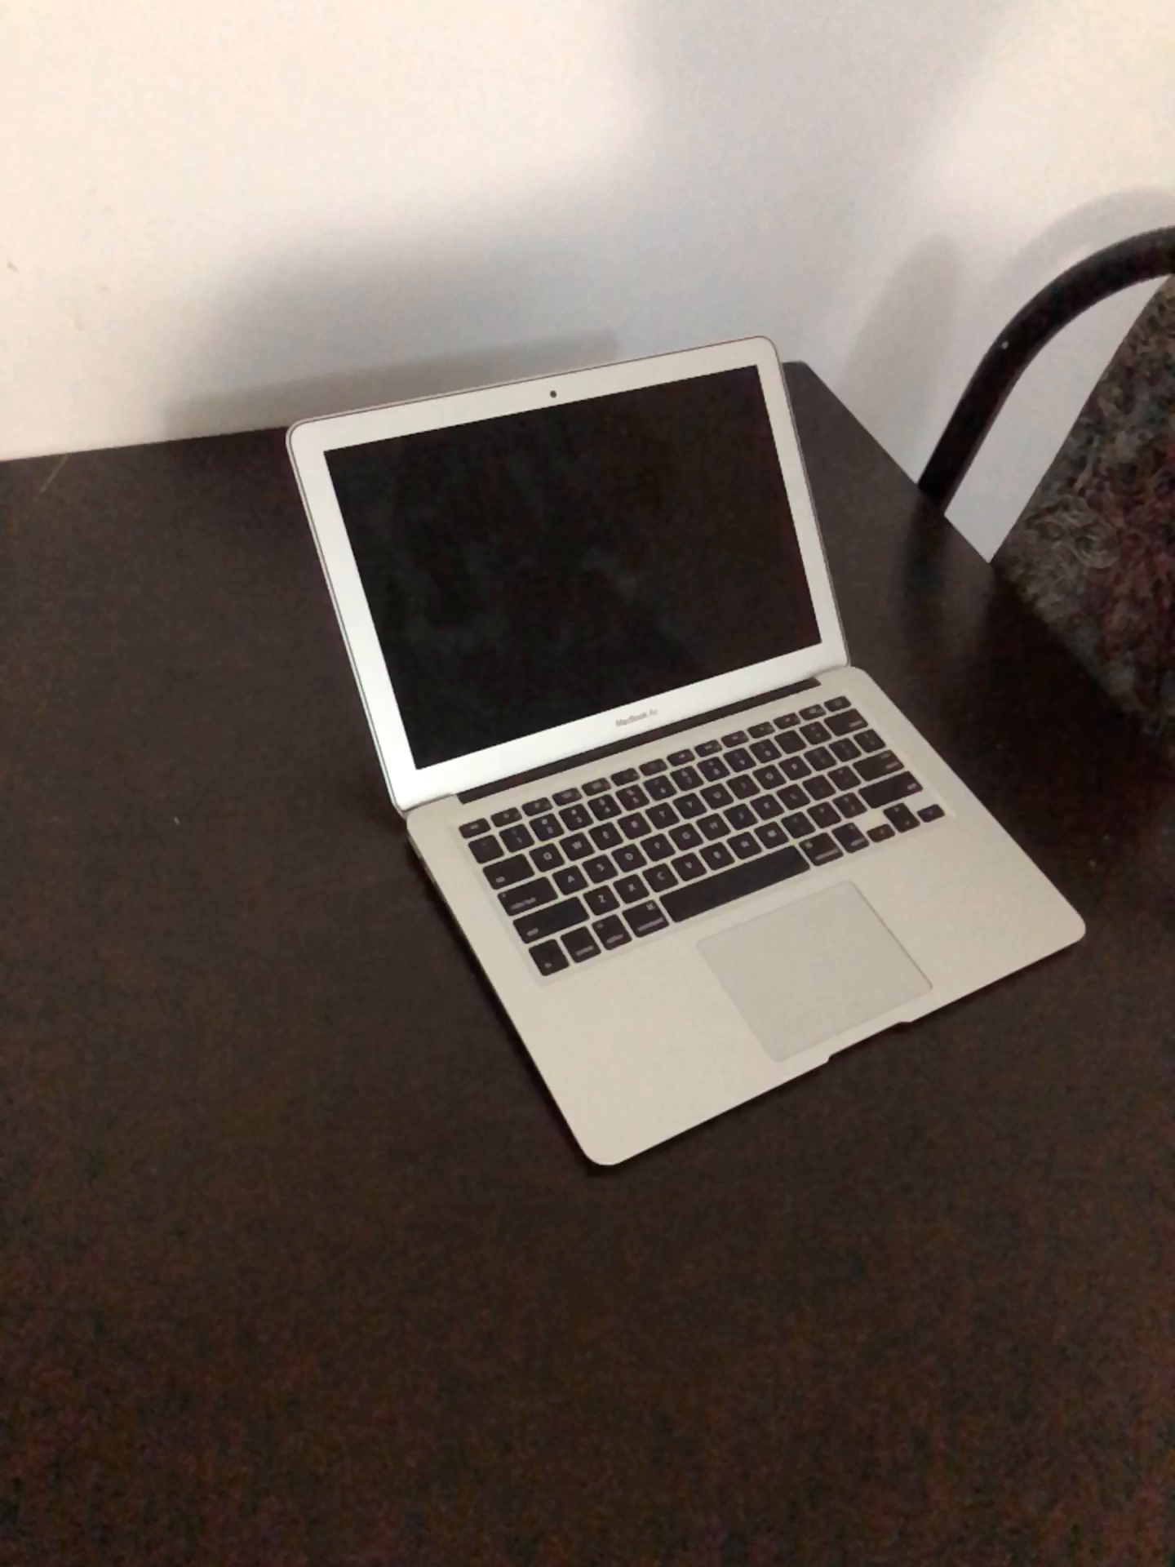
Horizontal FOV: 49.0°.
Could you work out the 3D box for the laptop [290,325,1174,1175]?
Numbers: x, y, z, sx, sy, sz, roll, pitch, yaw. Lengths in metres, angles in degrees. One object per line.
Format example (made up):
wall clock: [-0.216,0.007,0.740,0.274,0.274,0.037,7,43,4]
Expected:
laptop: [0.059,-0.052,0.660,0.303,0.136,0.362,-19,55,-24]
